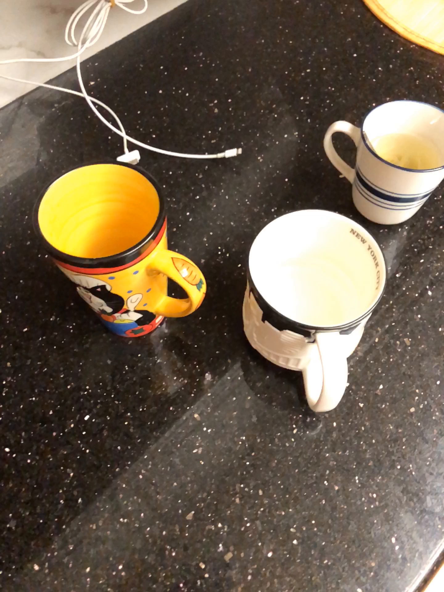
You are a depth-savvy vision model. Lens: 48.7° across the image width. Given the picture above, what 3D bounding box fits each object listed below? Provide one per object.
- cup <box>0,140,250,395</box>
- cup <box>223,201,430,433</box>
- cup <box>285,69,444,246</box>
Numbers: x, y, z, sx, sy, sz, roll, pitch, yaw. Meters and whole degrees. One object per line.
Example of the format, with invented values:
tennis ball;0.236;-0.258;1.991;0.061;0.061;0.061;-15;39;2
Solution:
cup;-0.064;-0.016;0.370;0.140;0.130;0.090;25;64;14
cup;0.068;0.017;0.384;0.110;0.090;0.140;-9;60;-4
cup;0.137;-0.124;0.444;0.130;0.090;0.090;18;62;11
